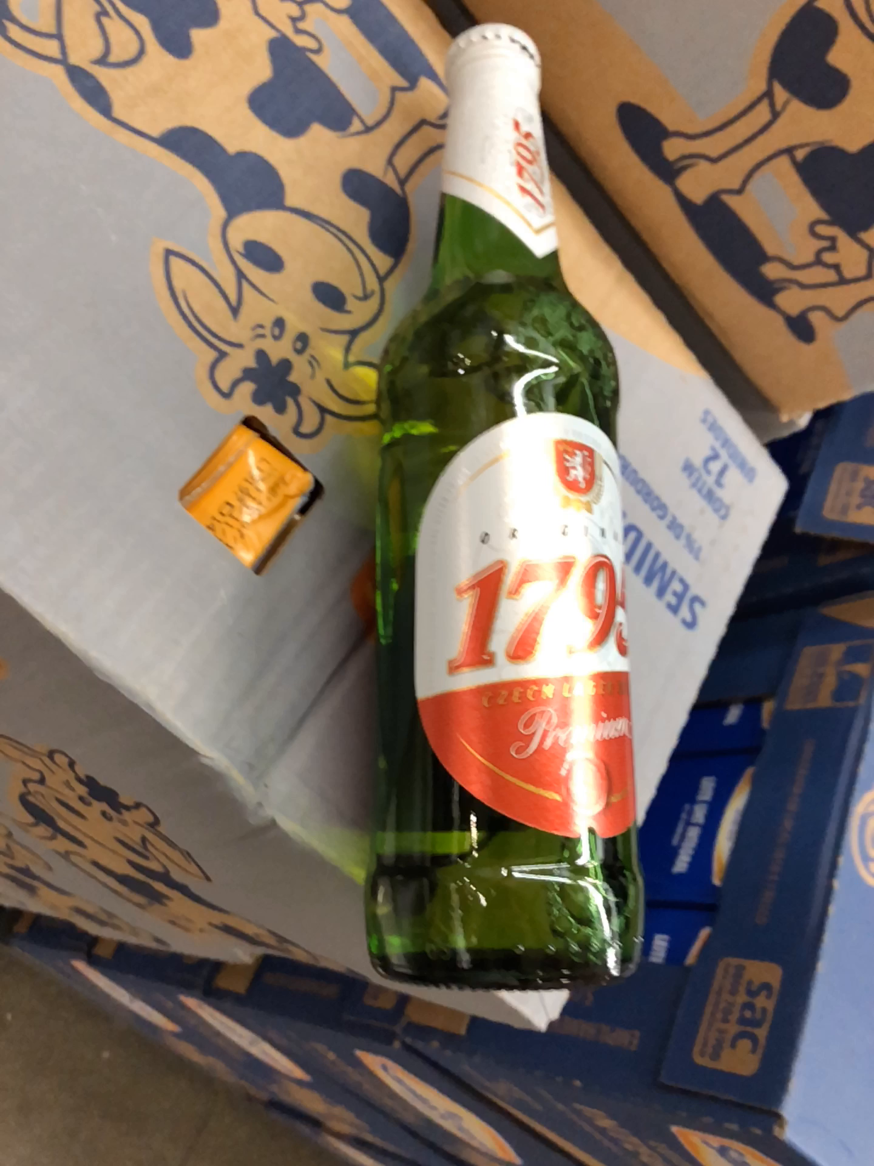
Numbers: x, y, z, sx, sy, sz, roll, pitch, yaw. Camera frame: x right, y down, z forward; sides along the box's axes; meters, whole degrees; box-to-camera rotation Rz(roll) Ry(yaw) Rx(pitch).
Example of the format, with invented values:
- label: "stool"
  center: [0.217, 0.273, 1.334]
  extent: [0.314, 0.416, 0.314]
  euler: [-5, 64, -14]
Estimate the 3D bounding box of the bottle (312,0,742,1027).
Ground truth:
- label: "bottle"
  center: [0.017, -0.041, 0.249]
  extent: [0.070, 0.060, 0.270]
  euler: [11, 70, -36]
